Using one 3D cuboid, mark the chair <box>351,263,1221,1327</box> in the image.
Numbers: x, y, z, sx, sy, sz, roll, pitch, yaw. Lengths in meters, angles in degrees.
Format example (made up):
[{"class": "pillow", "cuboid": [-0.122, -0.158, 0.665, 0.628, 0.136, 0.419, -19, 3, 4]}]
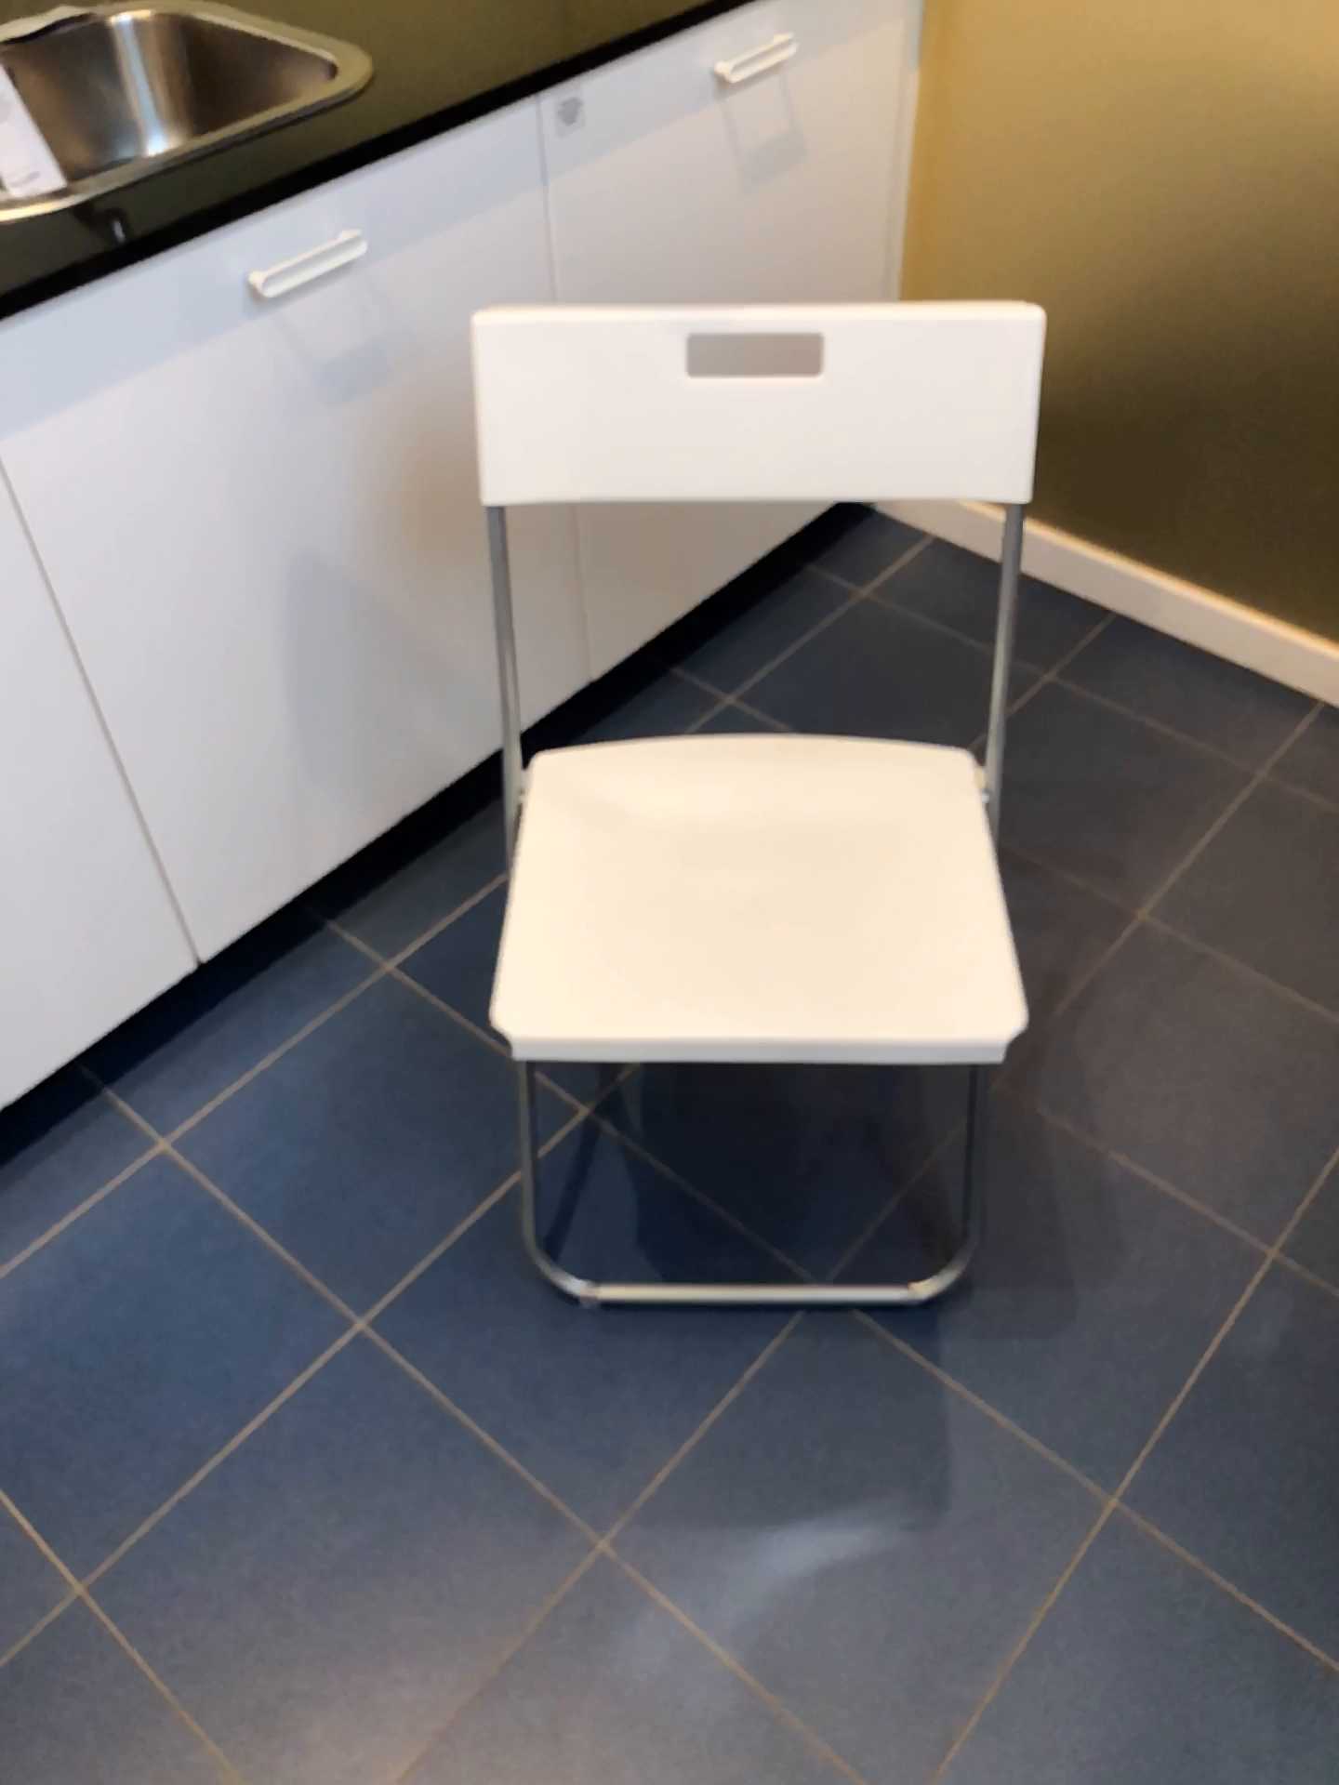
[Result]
[{"class": "chair", "cuboid": [0.081, -0.046, 1.300, 0.490, 0.775, 0.524, 0, 47, 2]}]
